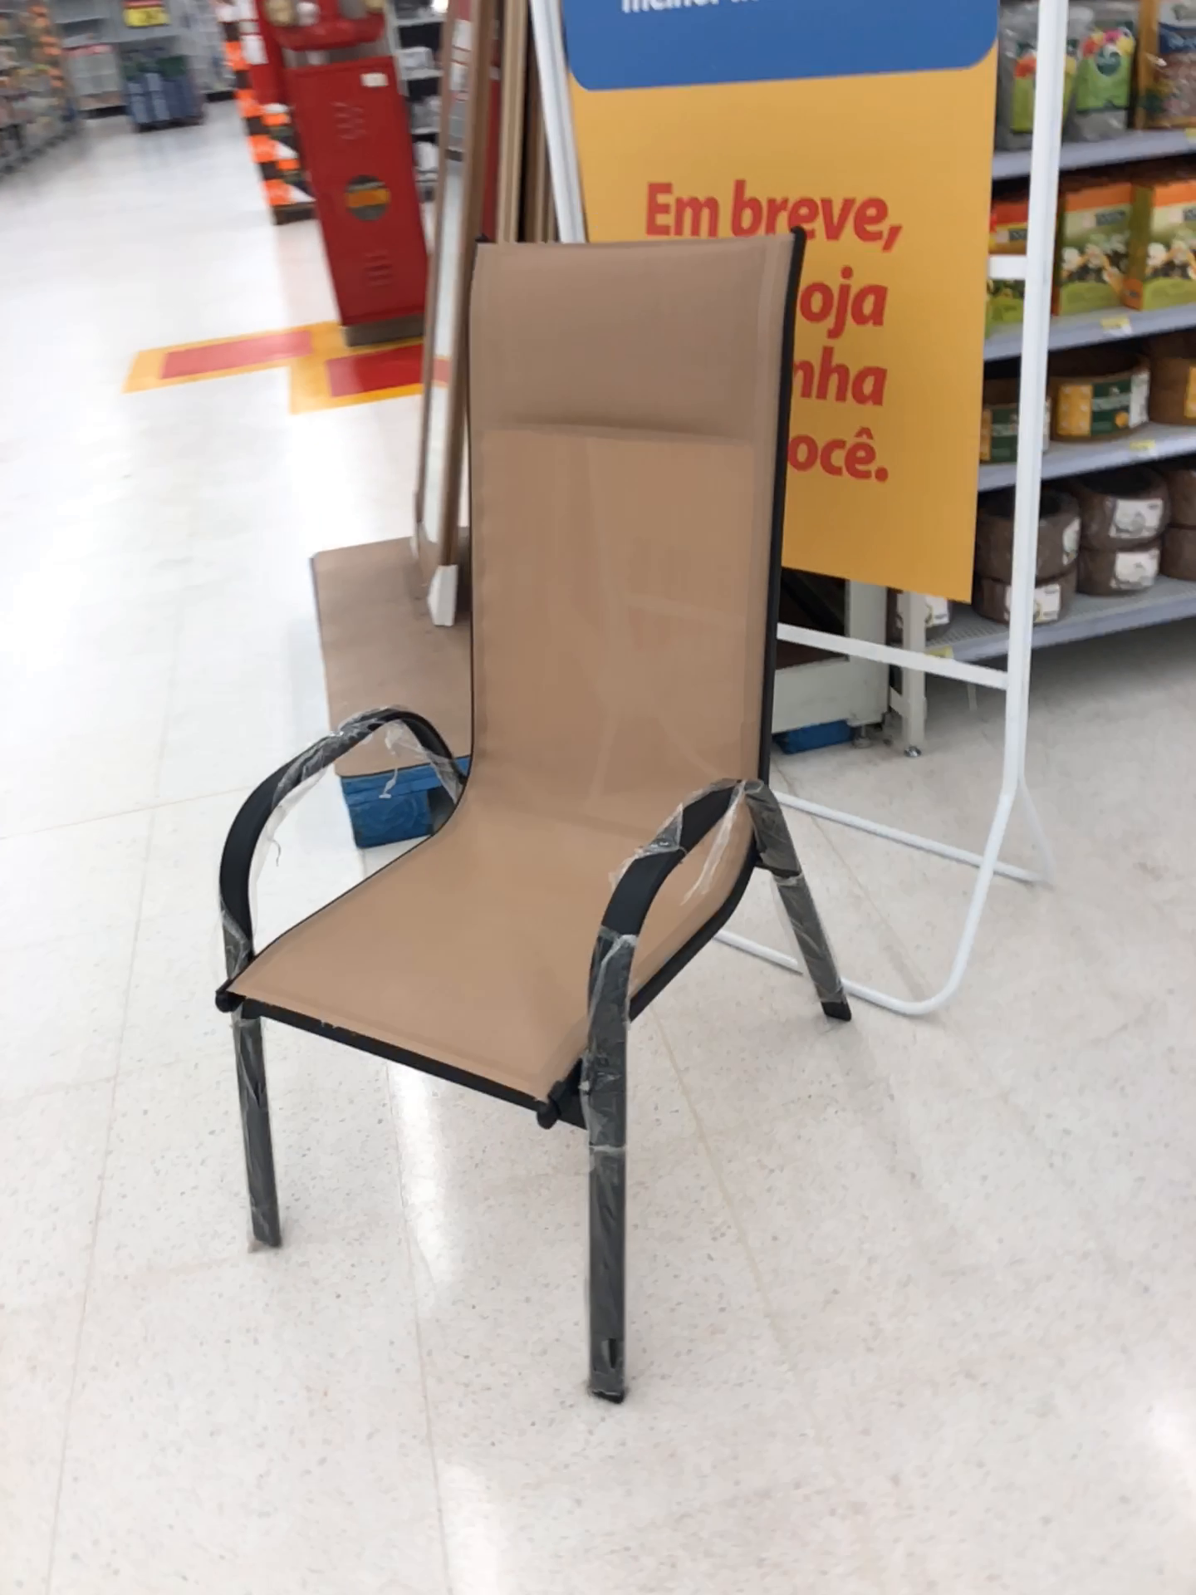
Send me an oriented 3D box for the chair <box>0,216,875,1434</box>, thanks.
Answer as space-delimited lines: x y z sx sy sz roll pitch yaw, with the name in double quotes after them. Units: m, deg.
-0.126 -0.029 1.423 0.621 0.973 0.704 12 36 29 "chair"
